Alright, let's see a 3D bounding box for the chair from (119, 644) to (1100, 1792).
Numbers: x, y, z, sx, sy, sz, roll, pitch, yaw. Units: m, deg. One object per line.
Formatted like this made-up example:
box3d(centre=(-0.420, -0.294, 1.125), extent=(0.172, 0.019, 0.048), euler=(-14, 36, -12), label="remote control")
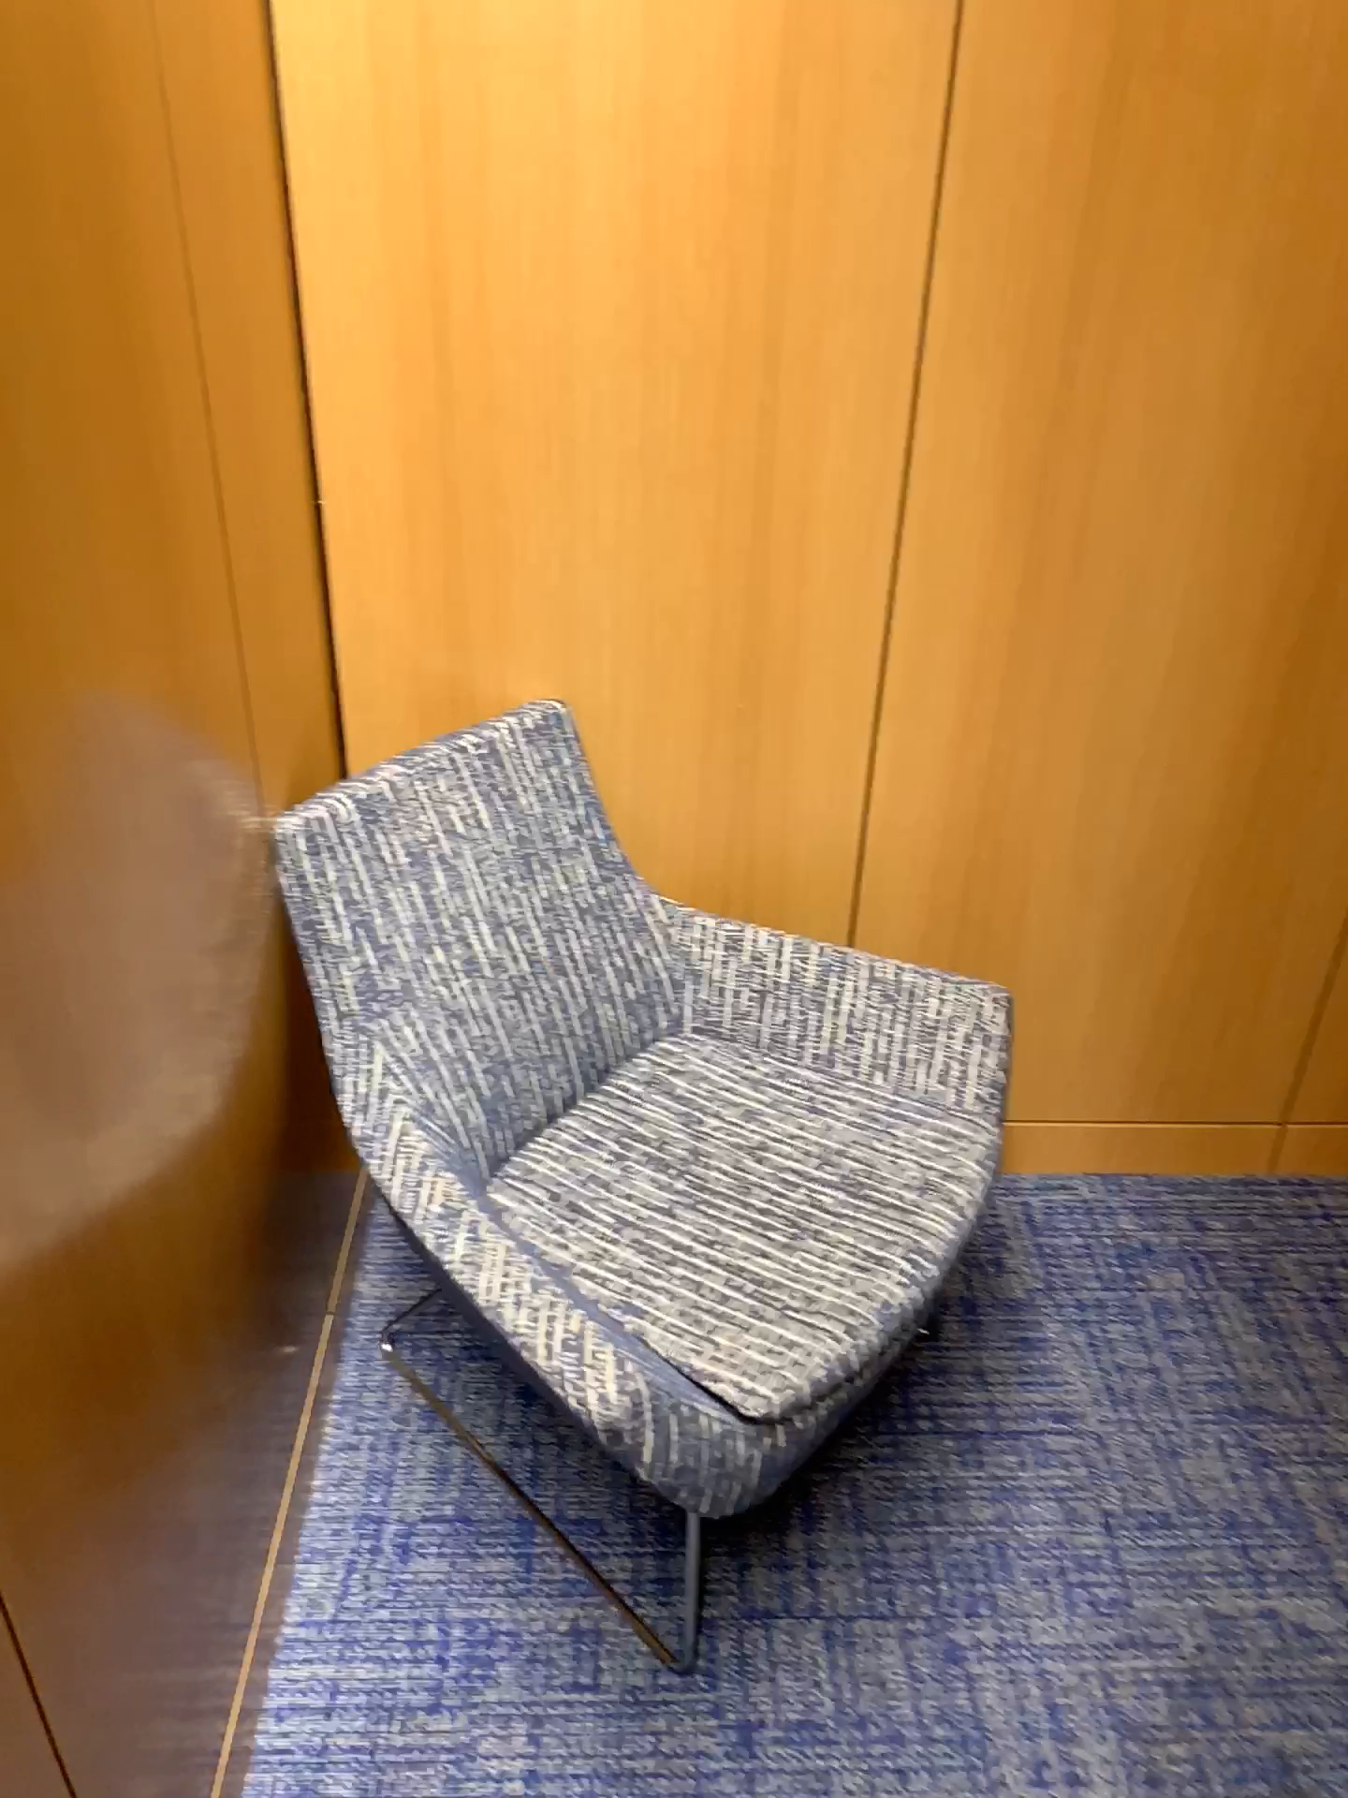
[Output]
box3d(centre=(-0.033, 0.251, 1.462), extent=(0.614, 0.746, 0.703), euler=(21, 35, 28), label="chair")
